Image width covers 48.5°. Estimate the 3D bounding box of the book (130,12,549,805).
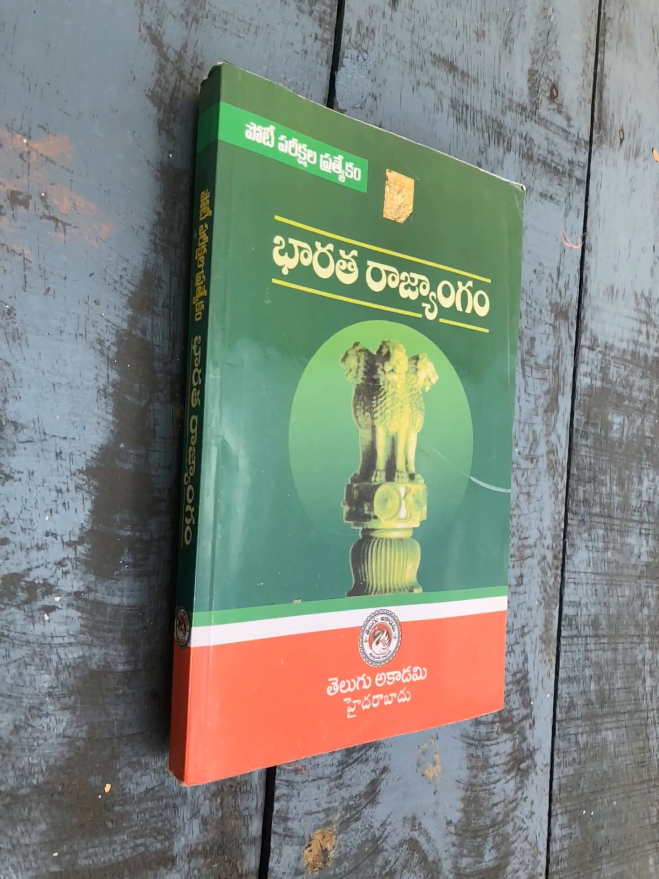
[{"bbox_3d":[0.015,-0.008,0.274,0.161,0.040,0.230,4,85,-36],"label":"book"}]
